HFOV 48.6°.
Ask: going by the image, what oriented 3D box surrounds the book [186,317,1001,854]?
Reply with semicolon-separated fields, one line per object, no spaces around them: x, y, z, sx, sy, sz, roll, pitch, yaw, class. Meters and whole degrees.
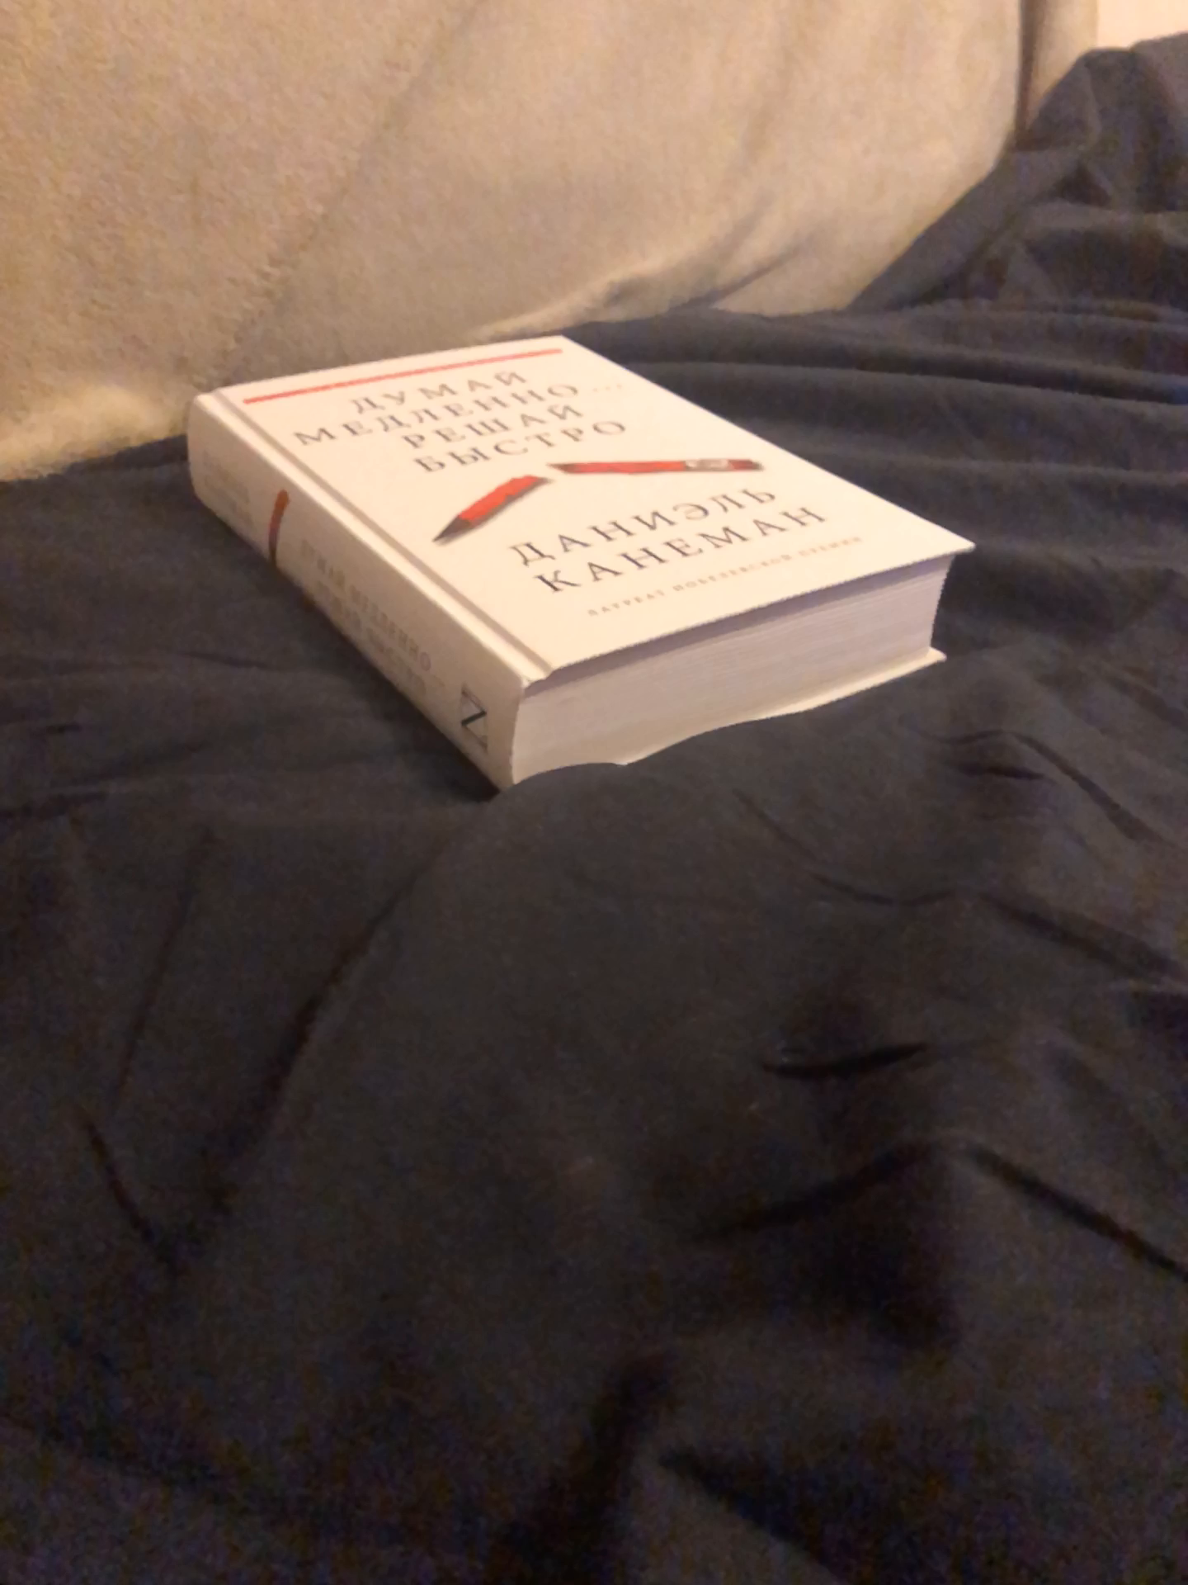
-0.013;-0.083;0.407;0.149;0.050;0.220;-19;41;-27;book
